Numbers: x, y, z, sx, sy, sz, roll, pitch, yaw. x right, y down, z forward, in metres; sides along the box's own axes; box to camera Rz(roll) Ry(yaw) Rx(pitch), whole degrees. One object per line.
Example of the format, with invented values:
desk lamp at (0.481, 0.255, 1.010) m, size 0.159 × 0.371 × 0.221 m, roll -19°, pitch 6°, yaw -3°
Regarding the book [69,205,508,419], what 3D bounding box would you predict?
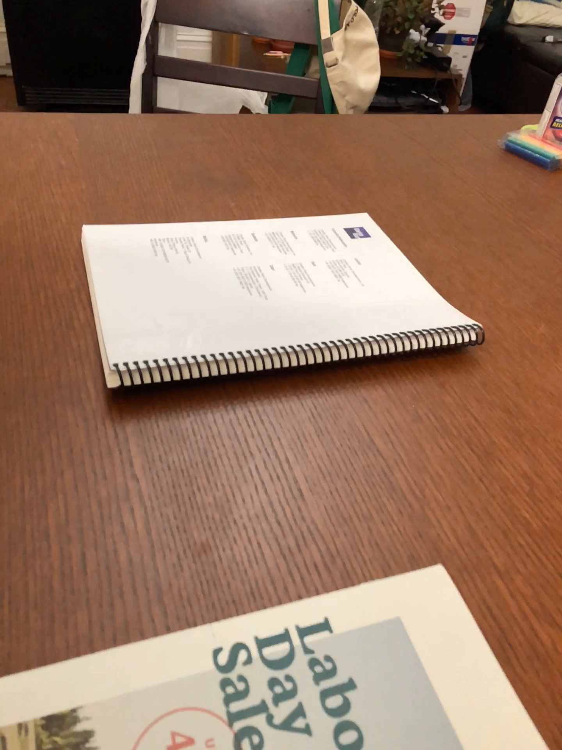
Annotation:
book at (-0.007, -0.073, 0.506) m, size 0.300 × 0.020 × 0.231 m, roll -8°, pitch 42°, yaw -18°
